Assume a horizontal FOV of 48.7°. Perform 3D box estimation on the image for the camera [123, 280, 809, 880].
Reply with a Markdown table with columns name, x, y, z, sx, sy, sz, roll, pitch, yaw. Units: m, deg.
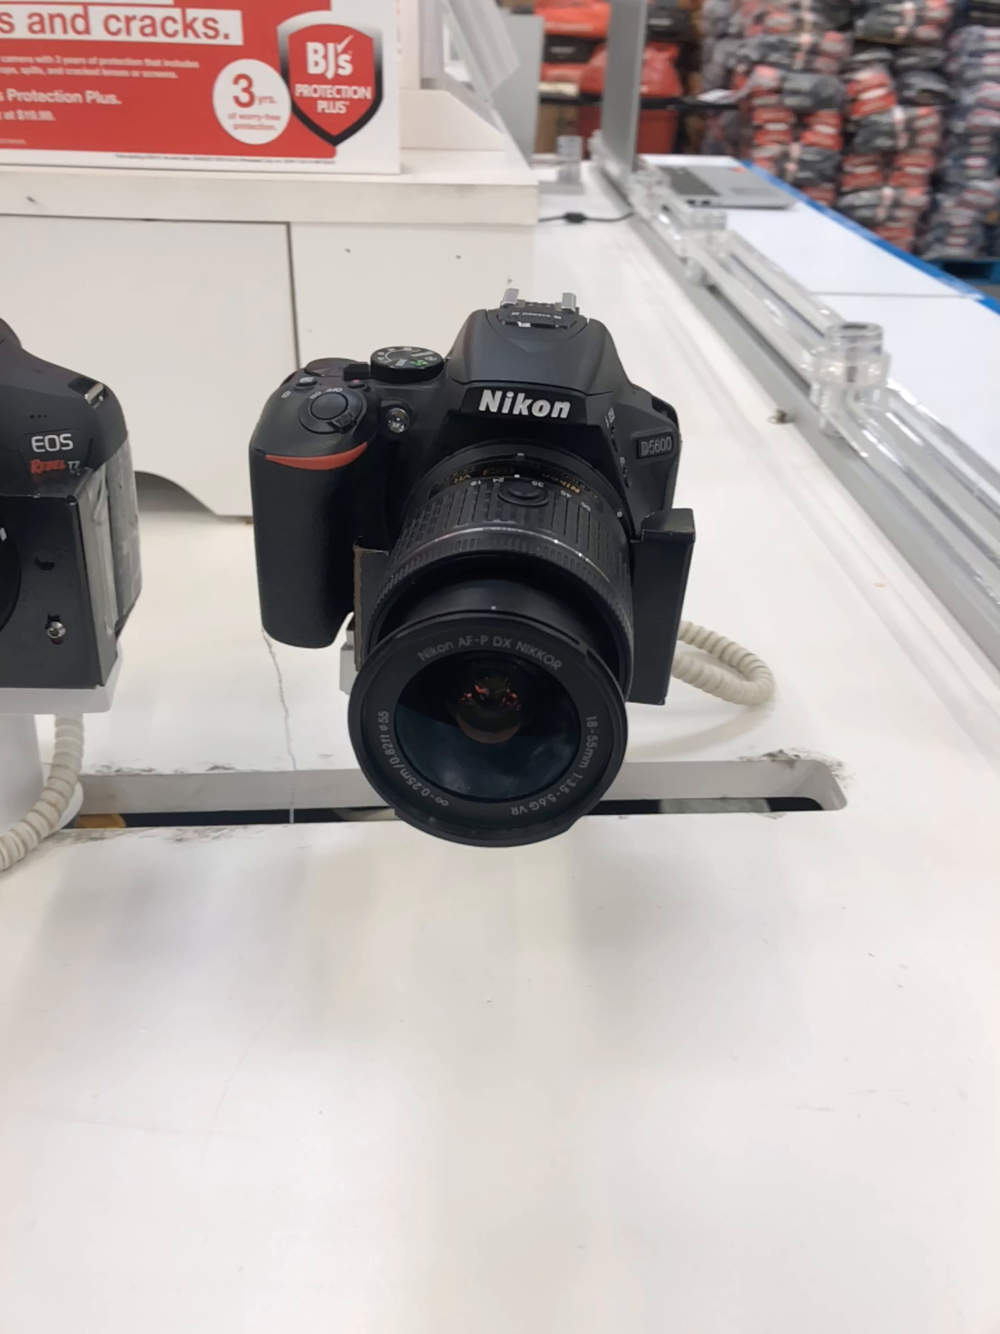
| name | x | y | z | sx | sy | sz | roll | pitch | yaw |
| --- | --- | --- | --- | --- | --- | --- | --- | --- | --- |
| camera | -0.008 | -0.033 | 0.281 | 0.120 | 0.089 | 0.151 | 2 | 31 | -2 |
